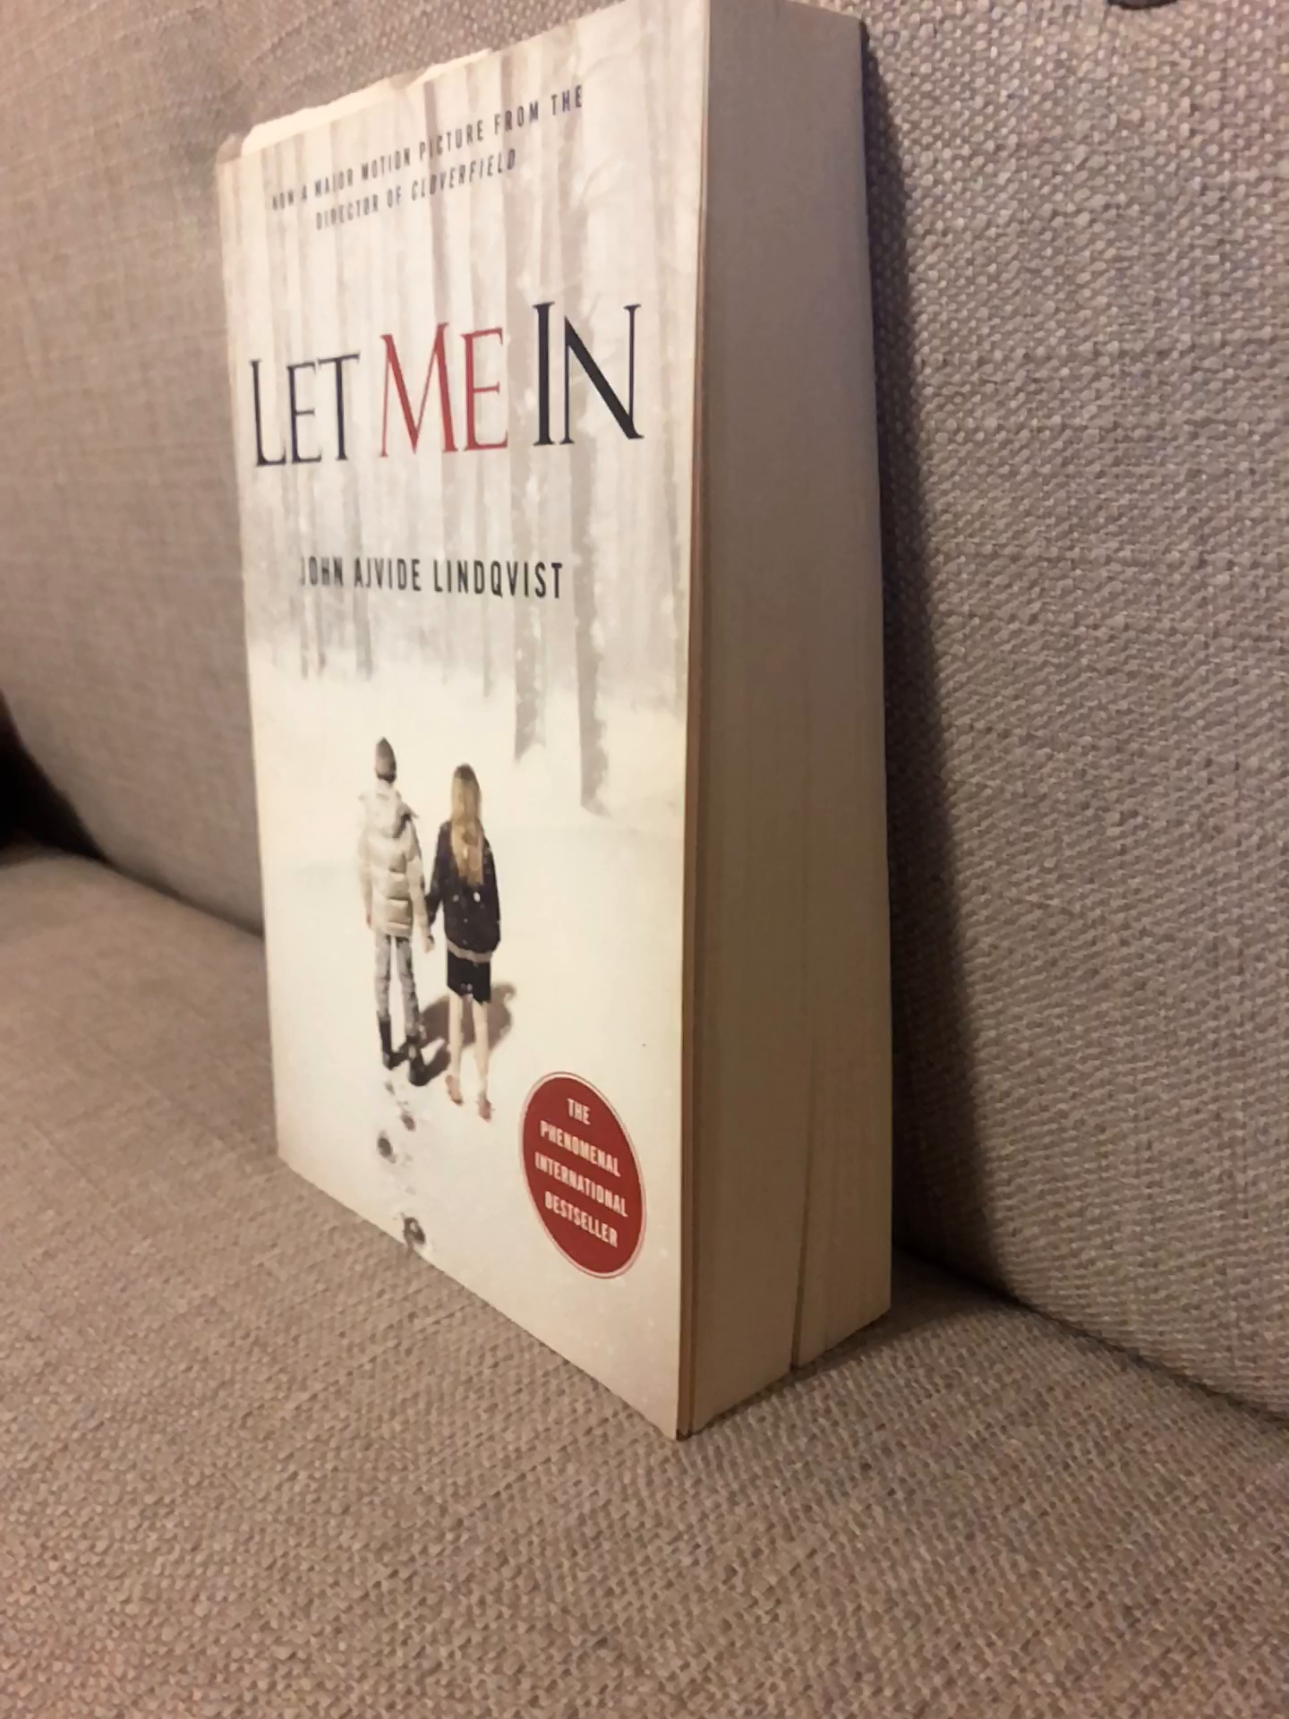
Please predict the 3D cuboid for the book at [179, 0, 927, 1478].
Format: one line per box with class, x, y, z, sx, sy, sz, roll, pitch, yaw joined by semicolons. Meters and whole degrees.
book;-0.027;-0.028;0.263;0.043;0.216;0.147;-9;15;-42
